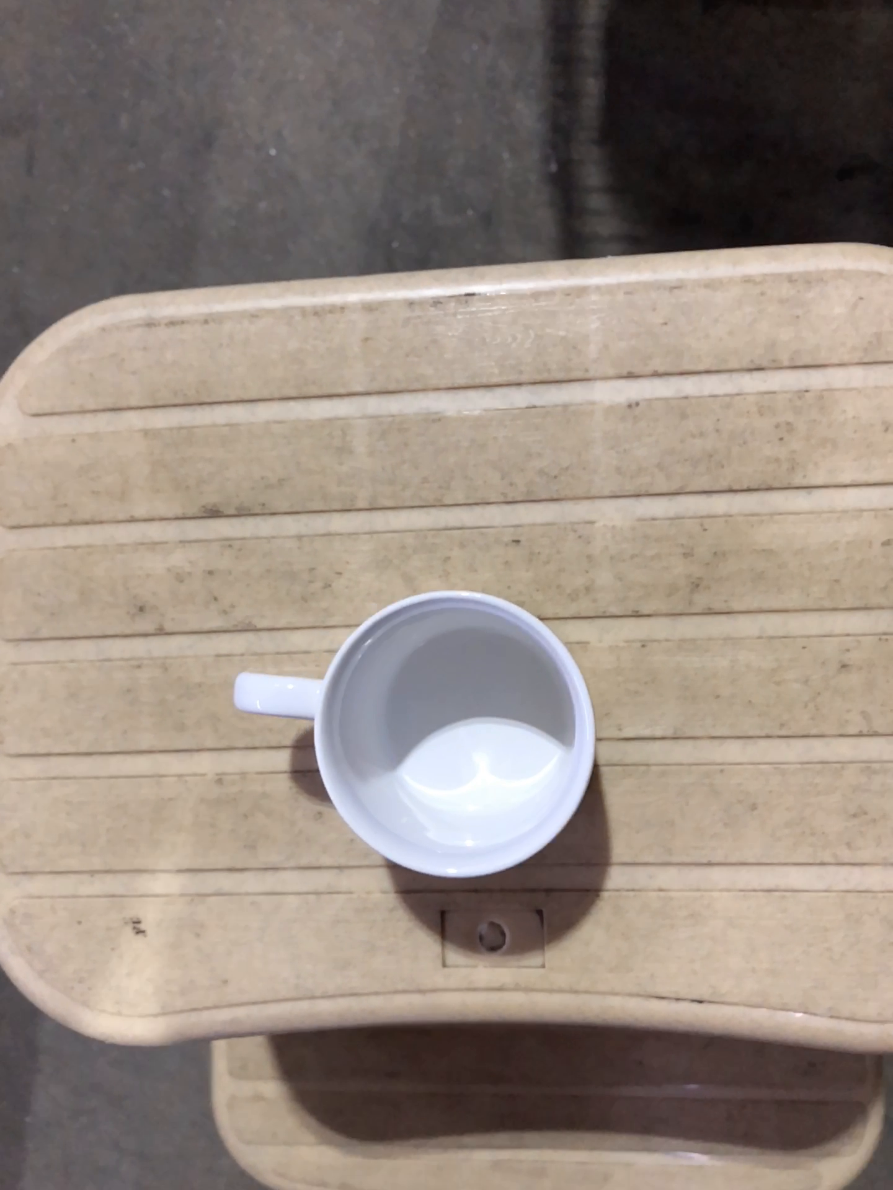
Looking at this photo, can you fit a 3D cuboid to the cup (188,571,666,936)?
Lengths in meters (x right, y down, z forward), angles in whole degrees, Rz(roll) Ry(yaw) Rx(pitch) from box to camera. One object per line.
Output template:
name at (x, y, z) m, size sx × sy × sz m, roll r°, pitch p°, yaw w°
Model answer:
cup at (-0.002, 0.036, 0.249) m, size 0.100 × 0.060 × 0.070 m, roll 5°, pitch 86°, yaw 7°
